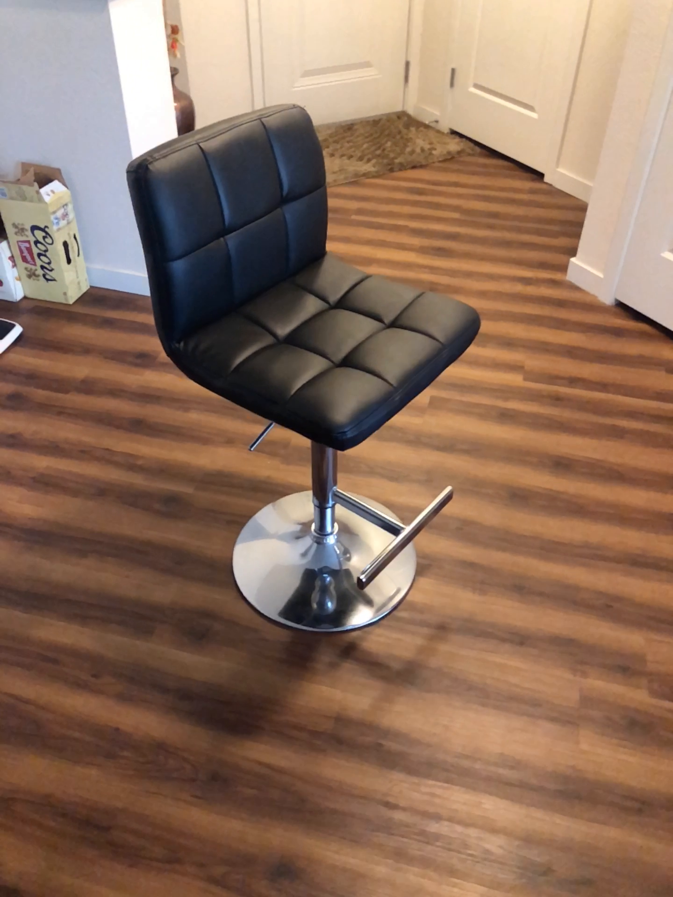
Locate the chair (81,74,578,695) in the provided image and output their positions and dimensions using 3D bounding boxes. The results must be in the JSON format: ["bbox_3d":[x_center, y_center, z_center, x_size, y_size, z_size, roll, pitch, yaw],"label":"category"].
[{"bbox_3d":[-0.007,-0.122,1.459,0.569,0.952,0.536,27,47,27],"label":"chair"}]
